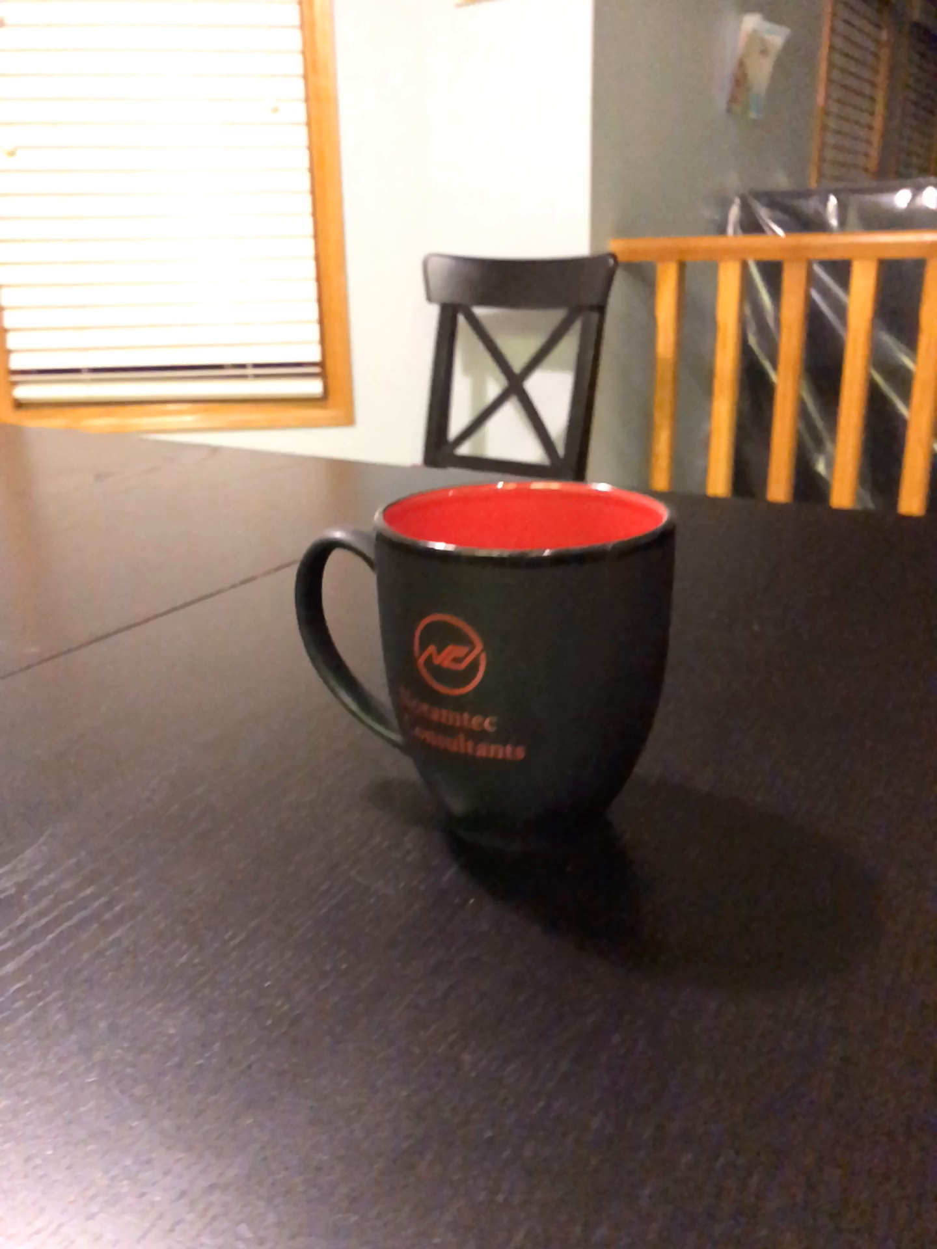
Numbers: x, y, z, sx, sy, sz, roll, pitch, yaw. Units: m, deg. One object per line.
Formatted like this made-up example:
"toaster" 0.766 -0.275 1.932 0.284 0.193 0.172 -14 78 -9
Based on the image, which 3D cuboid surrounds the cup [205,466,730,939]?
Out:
"cup" 0.004 0.014 0.355 0.140 0.110 0.100 8 21 24
